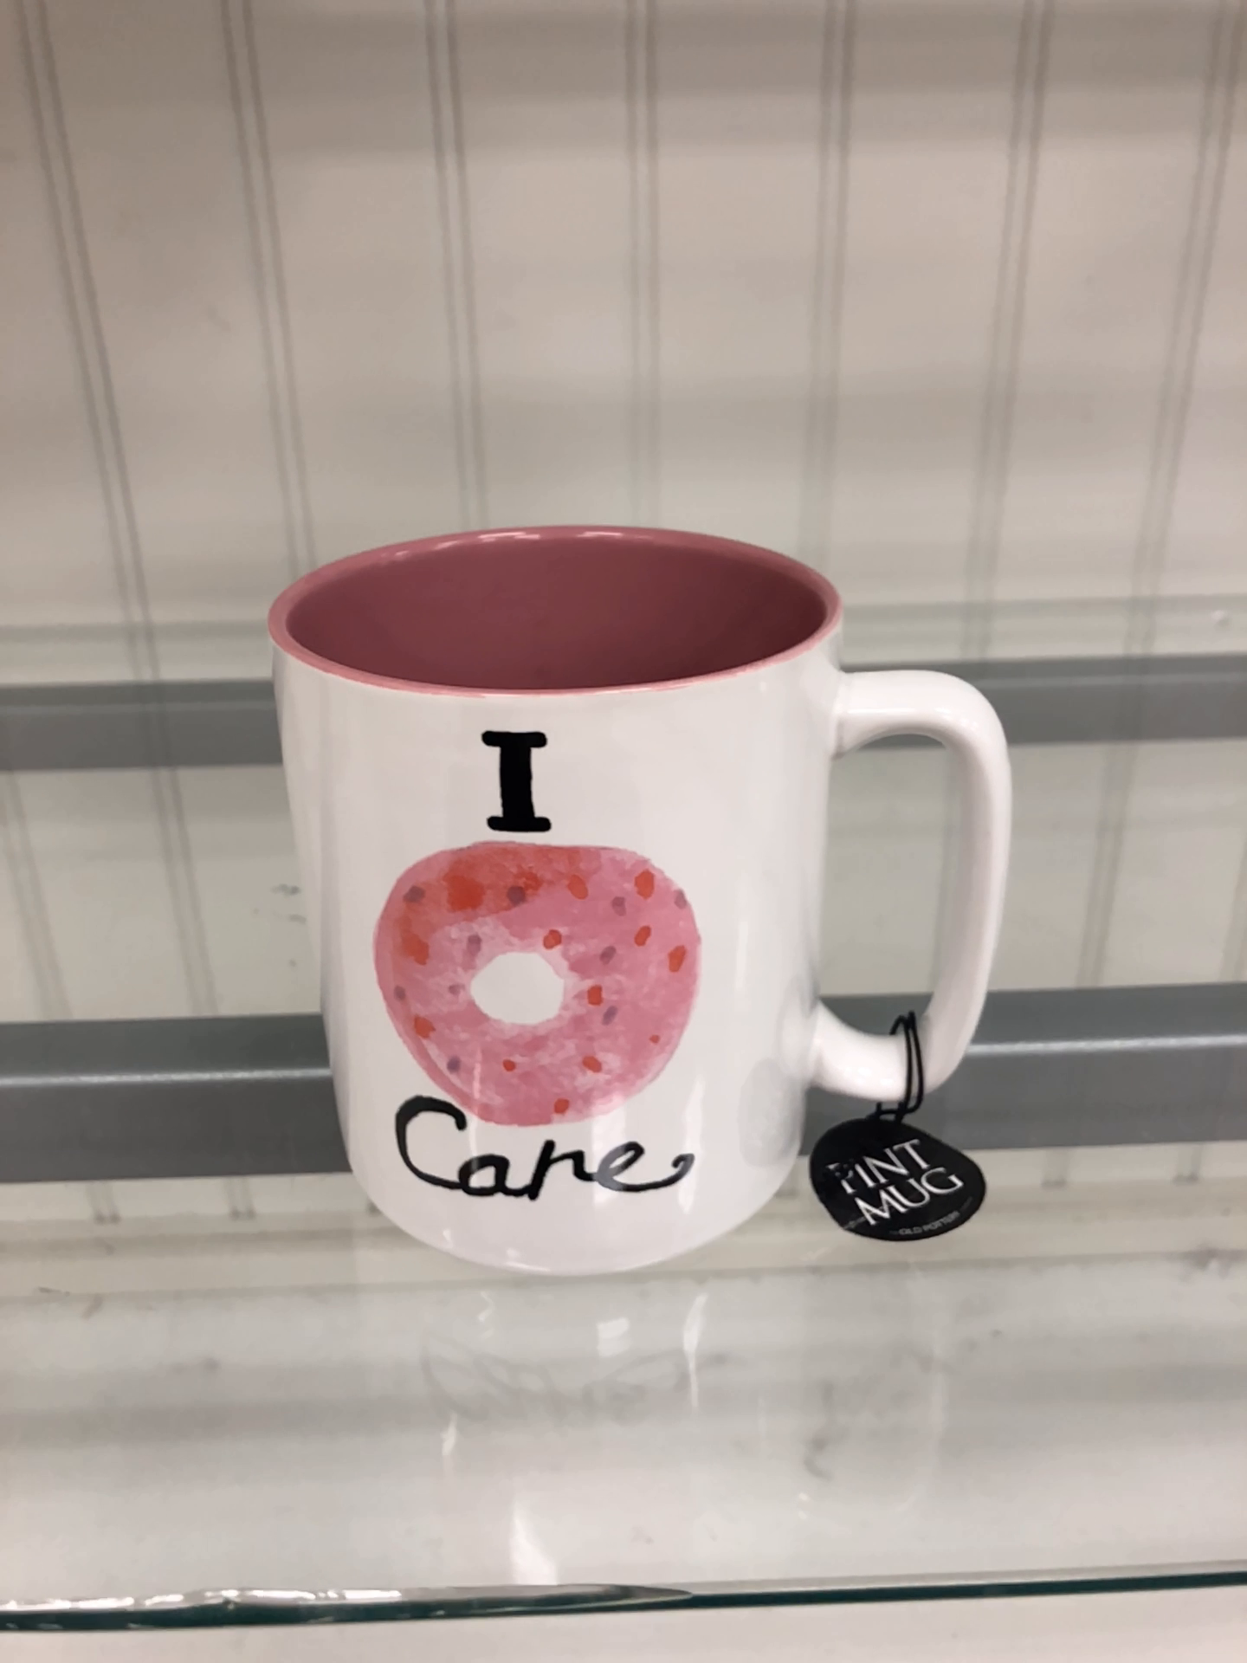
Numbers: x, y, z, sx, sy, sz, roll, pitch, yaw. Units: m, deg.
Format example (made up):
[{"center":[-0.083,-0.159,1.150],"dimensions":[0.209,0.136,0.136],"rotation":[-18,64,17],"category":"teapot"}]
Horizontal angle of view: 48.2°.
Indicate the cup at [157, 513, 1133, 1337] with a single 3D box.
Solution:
[{"center":[0.008,0.009,0.263],"dimensions":[0.137,0.112,0.101],"rotation":[2,26,7],"category":"cup"}]
